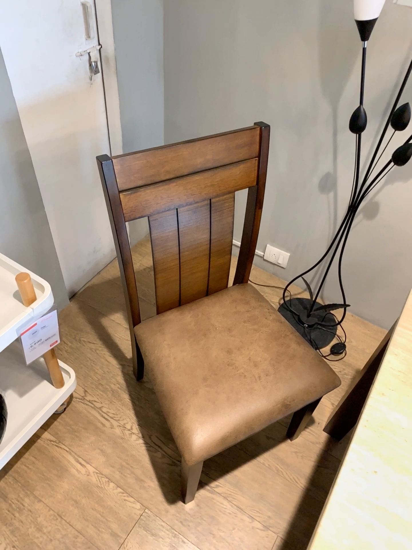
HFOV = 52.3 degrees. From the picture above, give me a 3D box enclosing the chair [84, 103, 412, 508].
[{"bbox_3d":[0.052,0.146,1.226,0.511,0.996,0.551,-20,53,-22],"label":"chair"}]
